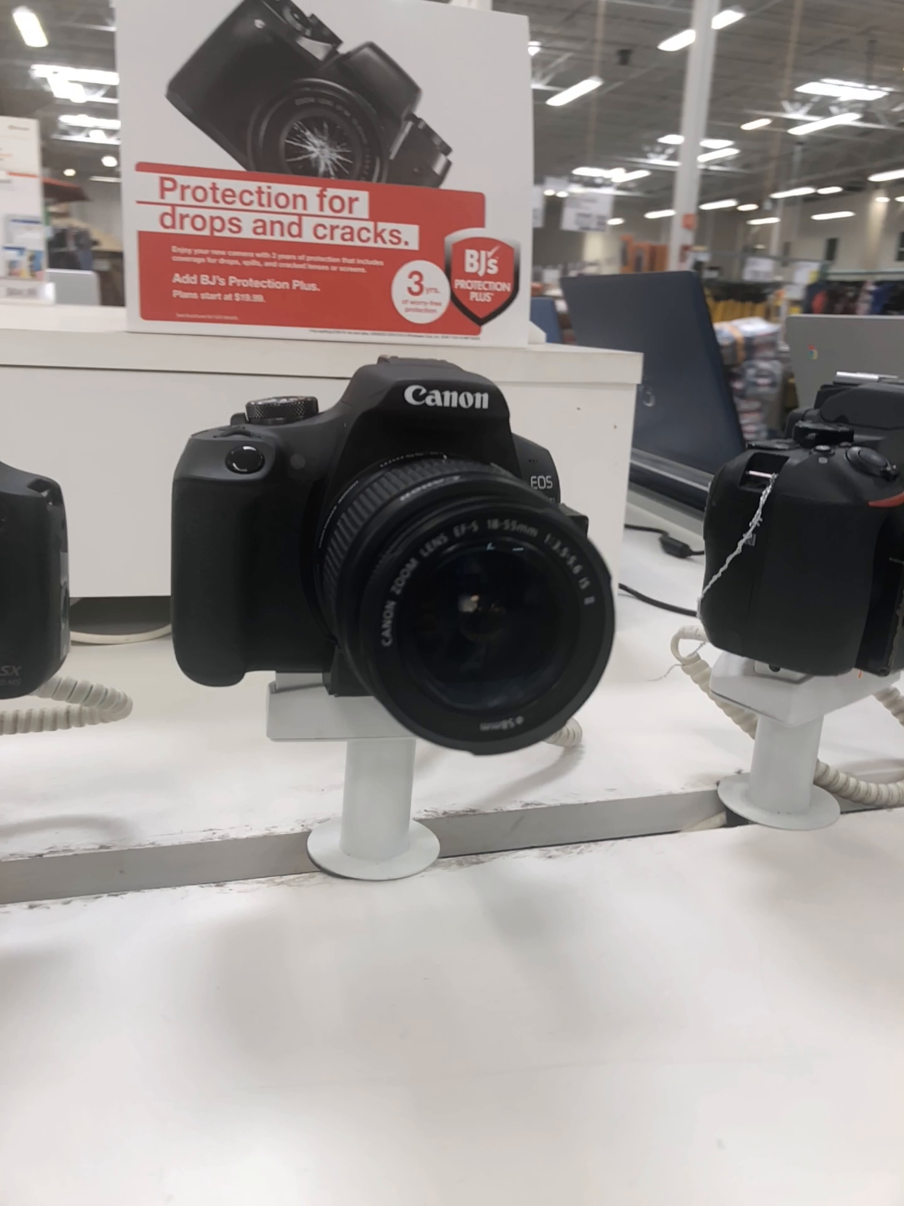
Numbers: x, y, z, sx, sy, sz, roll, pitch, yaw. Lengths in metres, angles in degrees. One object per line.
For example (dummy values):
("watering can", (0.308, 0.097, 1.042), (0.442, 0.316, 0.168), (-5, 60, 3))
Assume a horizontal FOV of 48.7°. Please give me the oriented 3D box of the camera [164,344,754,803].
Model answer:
("camera", (-0.012, -0.021, 0.289), (0.130, 0.092, 0.132), (-2, 17, -17))
